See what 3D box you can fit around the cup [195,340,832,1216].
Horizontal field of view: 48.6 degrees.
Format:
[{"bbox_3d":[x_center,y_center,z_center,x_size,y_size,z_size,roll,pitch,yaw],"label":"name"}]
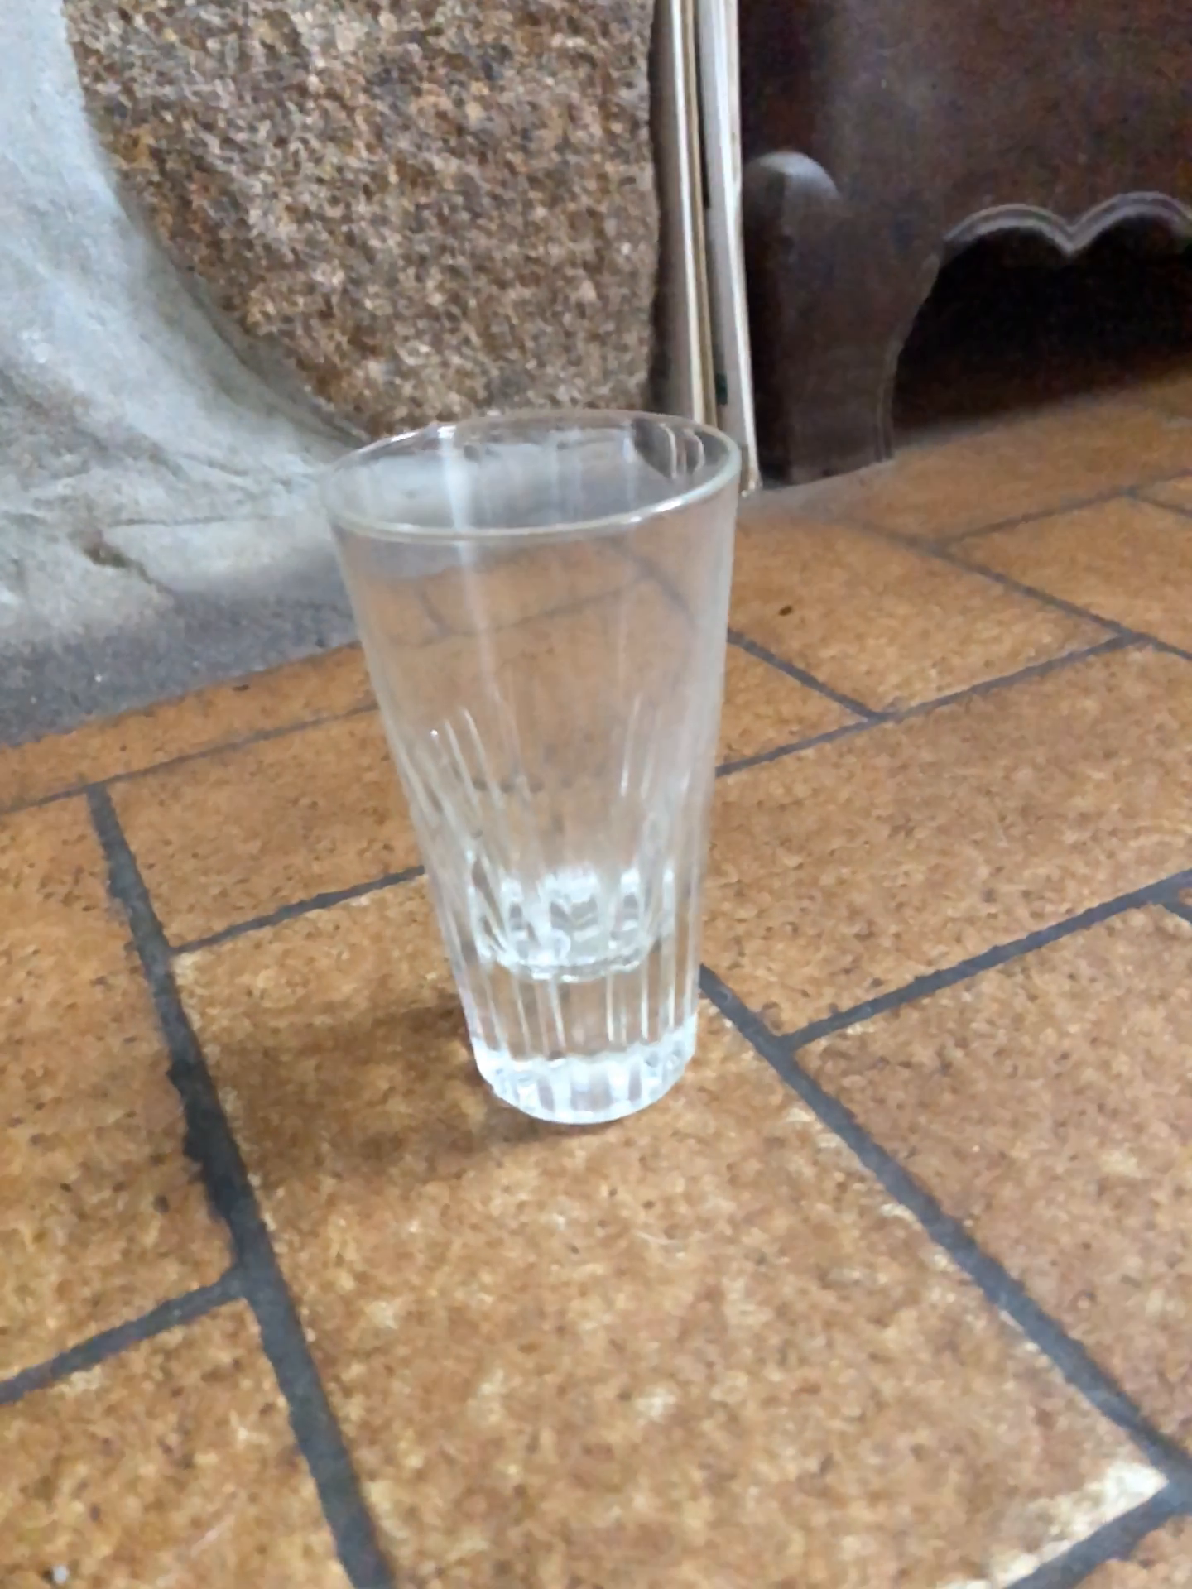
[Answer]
[{"bbox_3d":[-0.009,-0.007,0.231,0.070,0.119,0.070,-4,29,2],"label":"cup"}]
